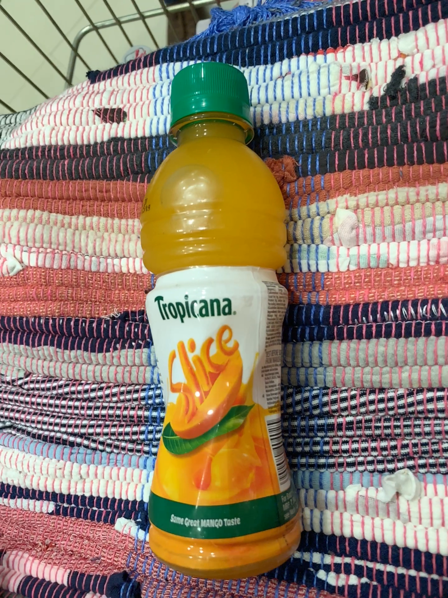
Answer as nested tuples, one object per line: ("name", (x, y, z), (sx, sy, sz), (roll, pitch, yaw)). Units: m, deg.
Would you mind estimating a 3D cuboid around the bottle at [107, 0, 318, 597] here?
("bottle", (0.000, -0.007, 0.176), (0.060, 0.050, 0.190), (-2, 81, 18))
